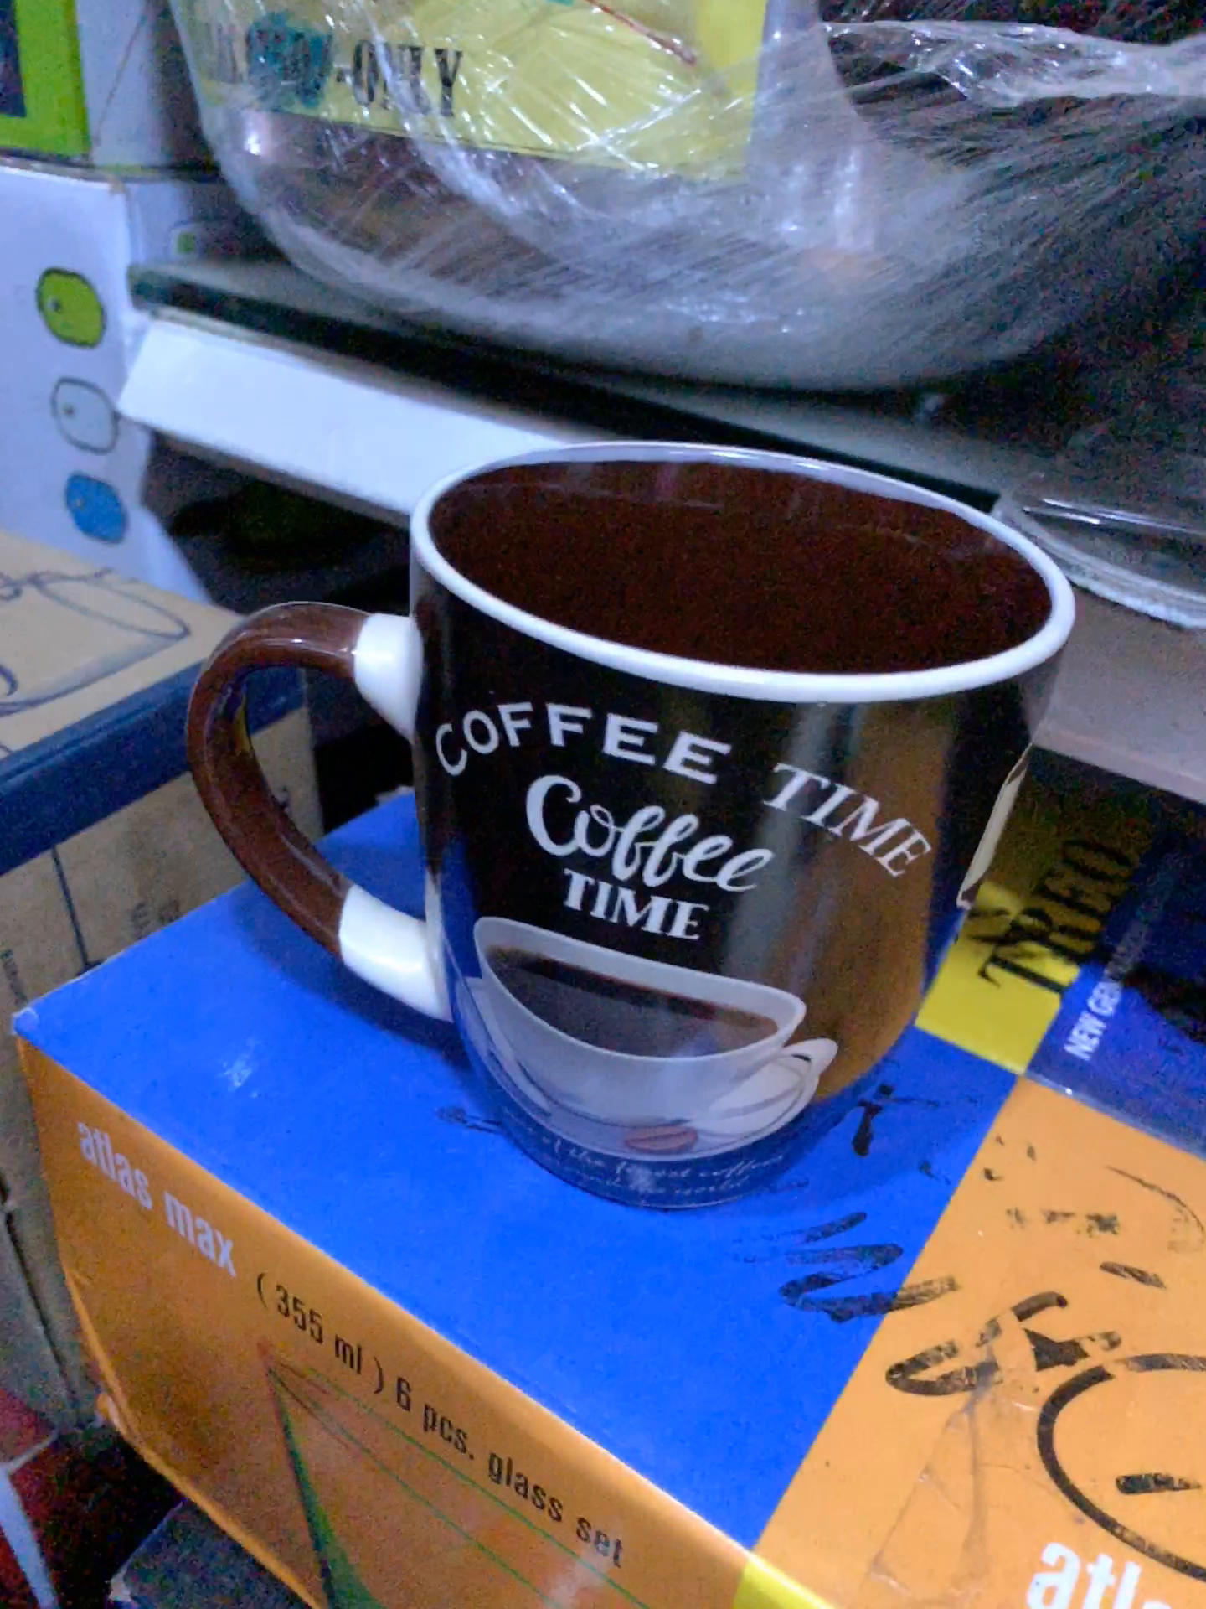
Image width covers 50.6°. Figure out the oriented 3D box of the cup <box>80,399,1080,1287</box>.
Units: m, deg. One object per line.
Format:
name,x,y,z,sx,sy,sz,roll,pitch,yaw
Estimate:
cup,0.000,-0.002,0.183,0.110,0.079,0.071,13,32,12
